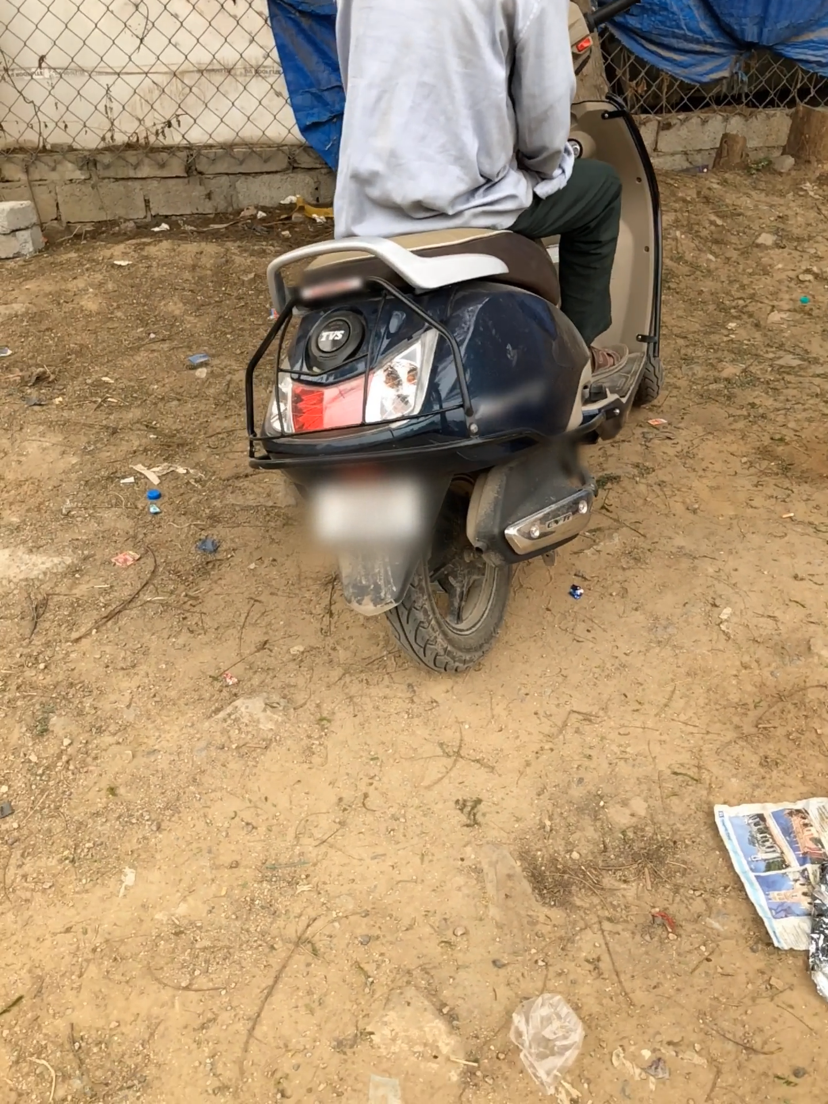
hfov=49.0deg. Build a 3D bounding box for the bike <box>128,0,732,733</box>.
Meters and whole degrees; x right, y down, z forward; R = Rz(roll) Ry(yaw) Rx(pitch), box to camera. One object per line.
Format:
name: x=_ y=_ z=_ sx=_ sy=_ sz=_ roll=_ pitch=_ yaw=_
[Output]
bike: x=0.130 y=-0.683 z=1.926 sx=0.634 sy=1.119 sz=1.351 roll=13 pitch=43 yaw=20
